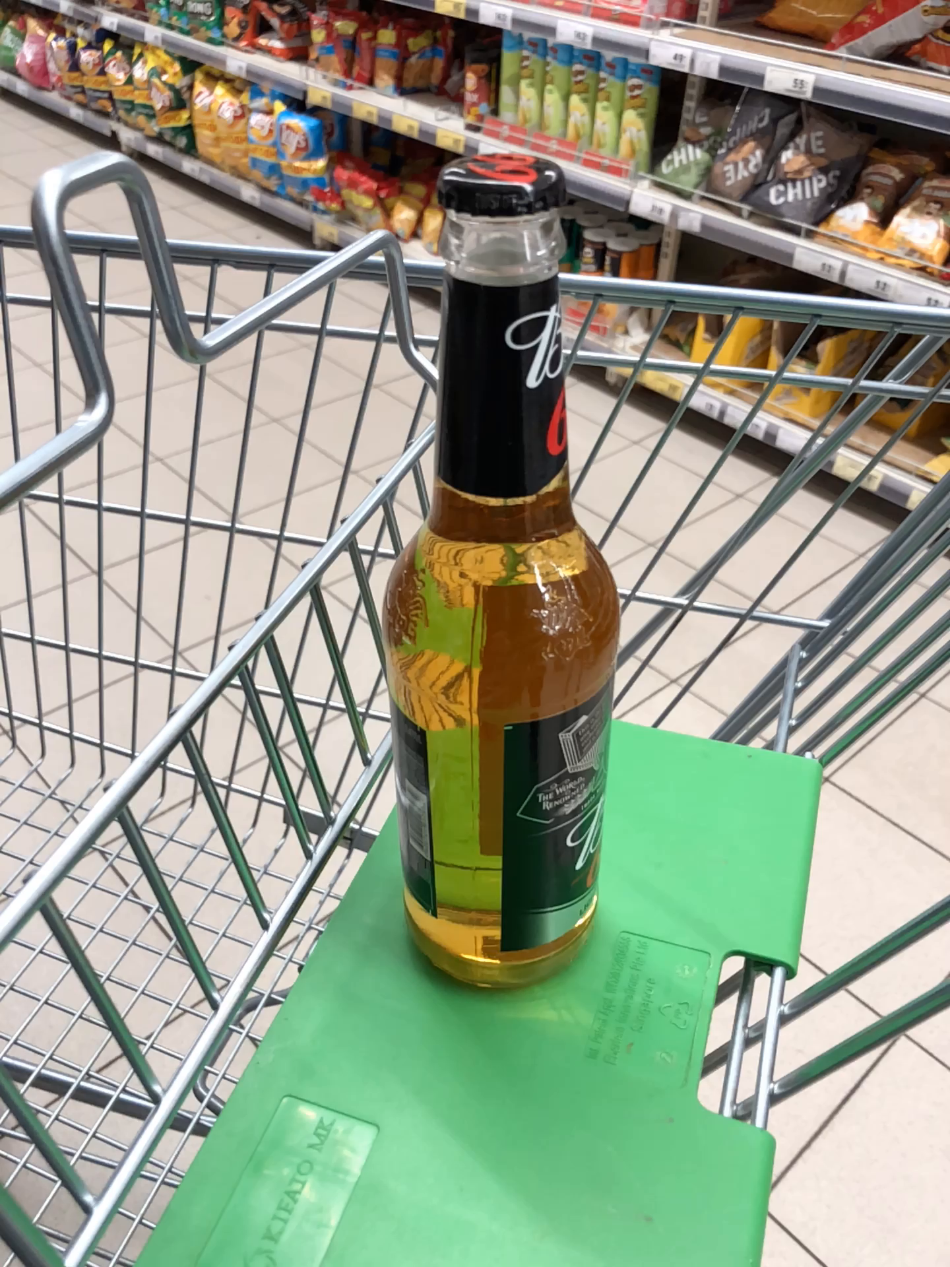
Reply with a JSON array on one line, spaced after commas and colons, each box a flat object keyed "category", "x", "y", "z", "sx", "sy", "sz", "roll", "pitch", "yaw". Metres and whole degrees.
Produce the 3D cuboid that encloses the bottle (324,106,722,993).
[{"category": "bottle", "x": 0.012, "y": -0.005, "z": 0.290, "sx": 0.070, "sy": 0.239, "sz": 0.080, "roll": -1, "pitch": 38, "yaw": 1}]
